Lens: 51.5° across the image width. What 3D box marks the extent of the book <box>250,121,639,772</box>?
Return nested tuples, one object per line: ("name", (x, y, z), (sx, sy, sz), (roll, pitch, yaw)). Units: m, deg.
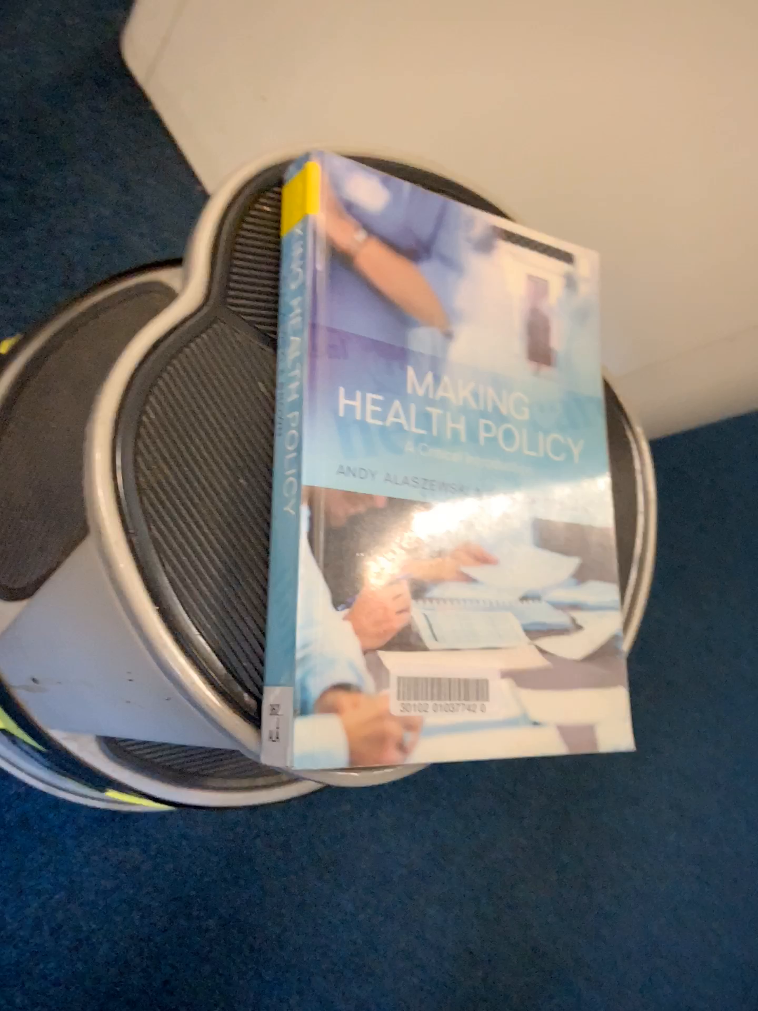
("book", (0.031, -0.020, 0.329), (0.160, 0.030, 0.240), (9, 73, -30))
